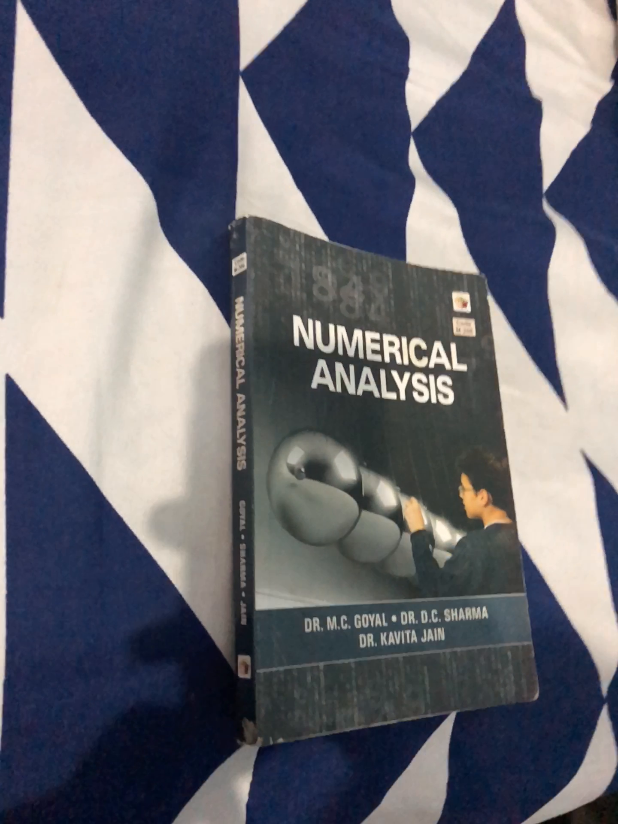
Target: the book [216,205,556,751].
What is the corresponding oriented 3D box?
[{"bbox_3d":[0.033,0.024,0.288,0.141,0.030,0.190,6,75,-30],"label":"book"}]
